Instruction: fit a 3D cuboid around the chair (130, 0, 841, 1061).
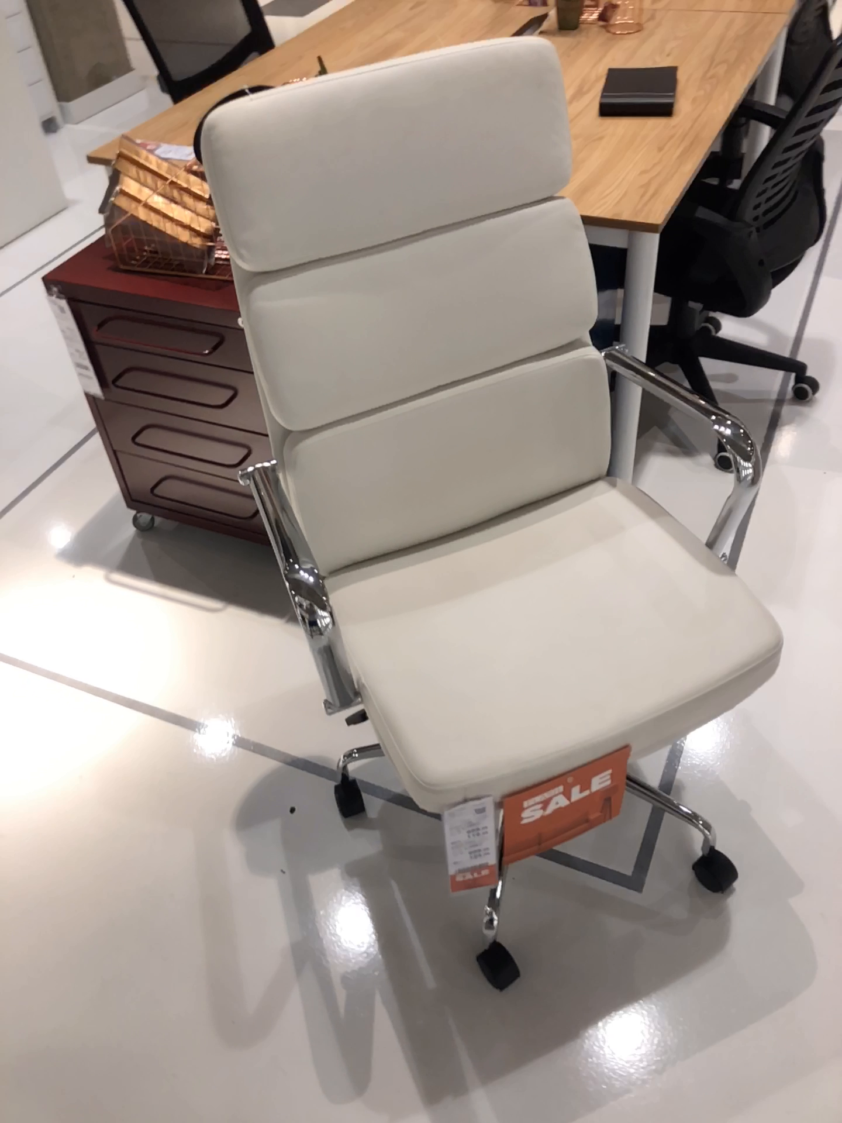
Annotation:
[{"bbox_3d":[0.166,-0.019,1.171,0.661,1.013,0.654,-20,45,-14],"label":"chair"}]
